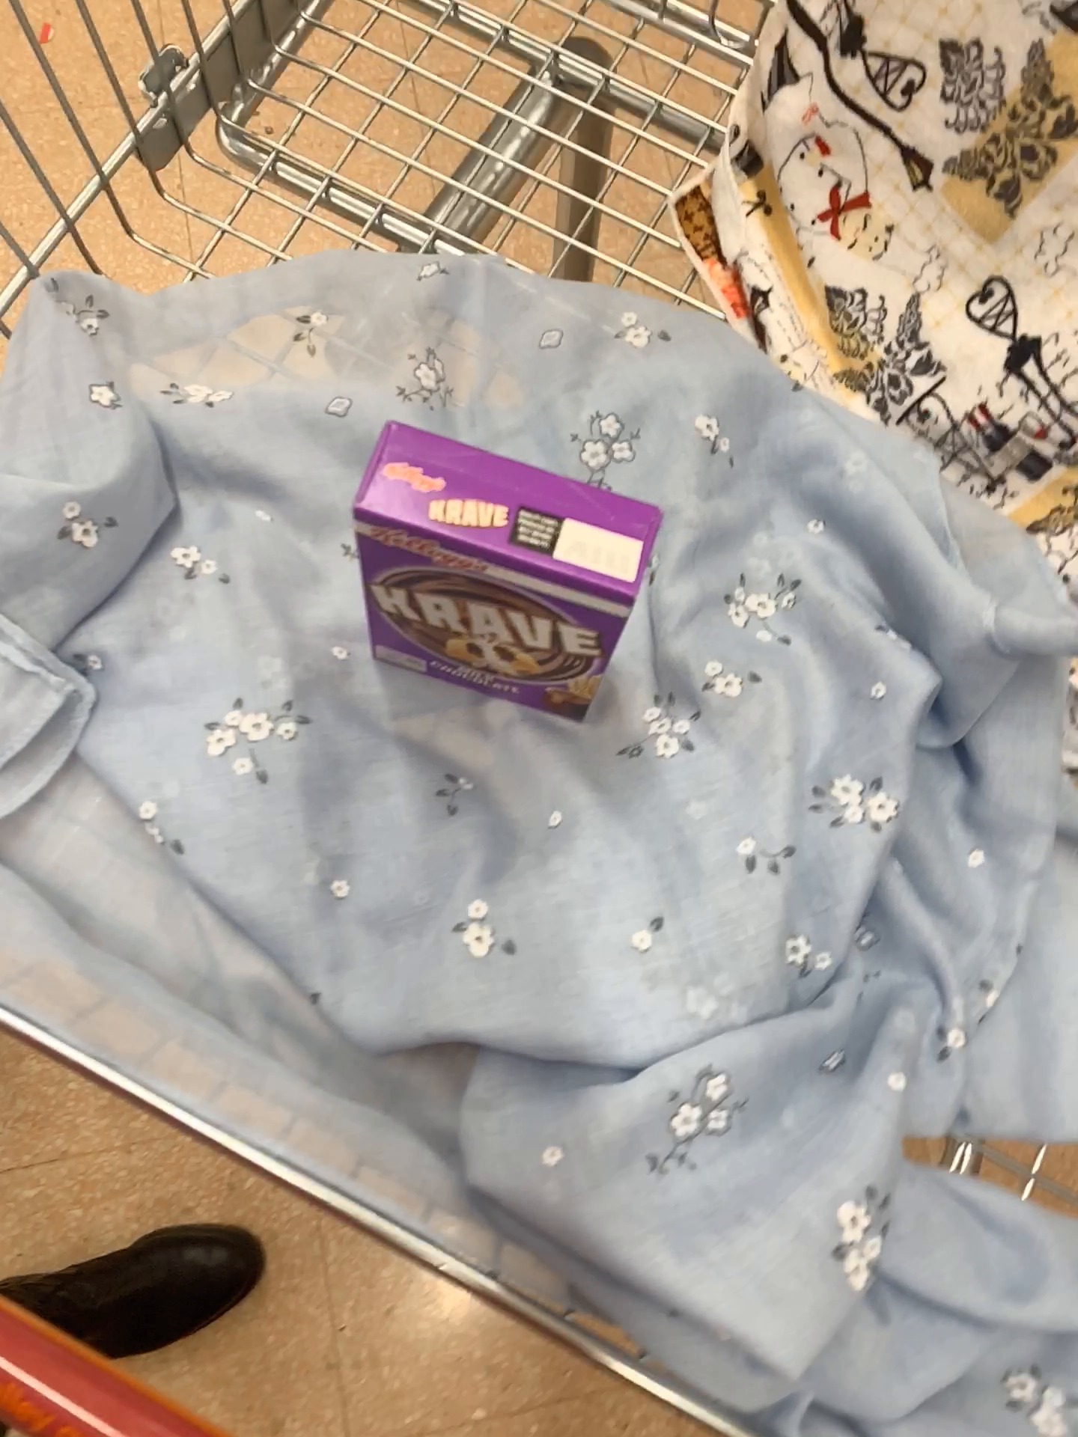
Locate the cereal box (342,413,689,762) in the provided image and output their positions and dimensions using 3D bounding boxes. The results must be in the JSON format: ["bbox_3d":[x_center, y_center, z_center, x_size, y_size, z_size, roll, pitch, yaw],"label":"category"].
[{"bbox_3d":[-0.012,-0.036,0.371,0.090,0.130,0.040,18,71,0],"label":"cereal box"}]
